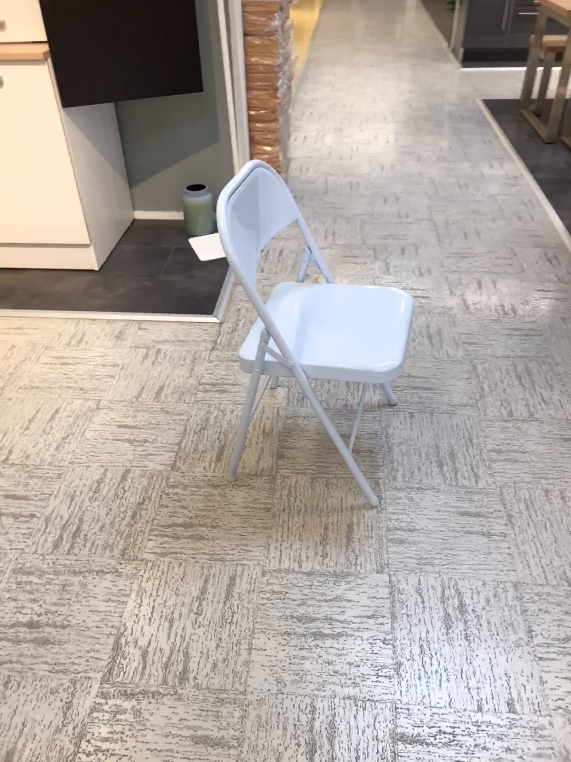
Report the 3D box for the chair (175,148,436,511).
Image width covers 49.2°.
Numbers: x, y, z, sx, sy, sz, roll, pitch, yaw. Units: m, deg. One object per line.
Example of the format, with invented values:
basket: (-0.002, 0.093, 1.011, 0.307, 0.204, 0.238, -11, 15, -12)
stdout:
chair: (0.084, -0.142, 1.589, 0.480, 0.706, 0.514, 7, 37, 12)
